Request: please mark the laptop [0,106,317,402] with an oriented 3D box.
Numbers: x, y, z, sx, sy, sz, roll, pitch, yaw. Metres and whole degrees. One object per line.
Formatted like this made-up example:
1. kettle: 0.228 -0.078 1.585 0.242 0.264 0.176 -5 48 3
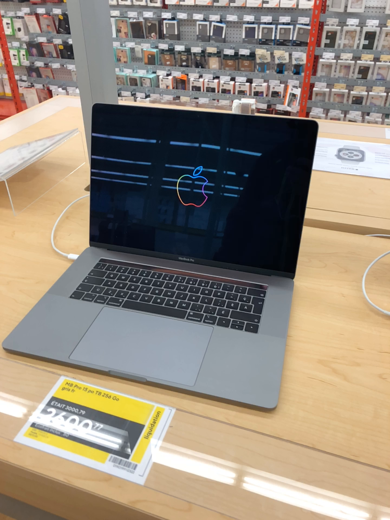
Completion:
1. laptop: -0.035 -0.038 0.553 0.329 0.212 0.299 9 36 12
